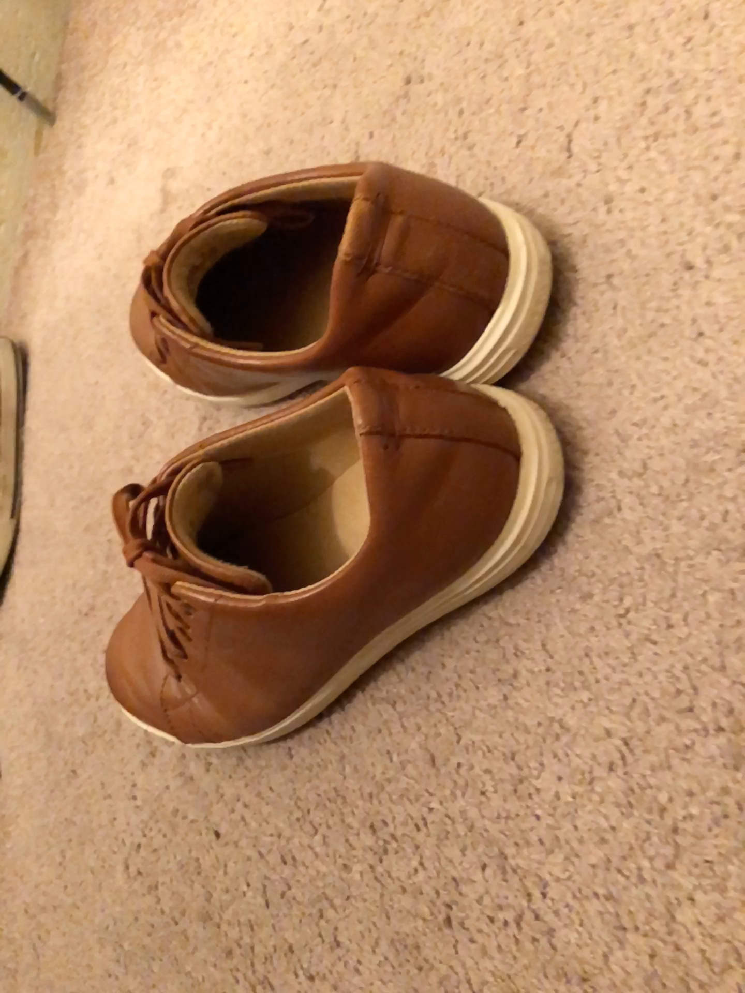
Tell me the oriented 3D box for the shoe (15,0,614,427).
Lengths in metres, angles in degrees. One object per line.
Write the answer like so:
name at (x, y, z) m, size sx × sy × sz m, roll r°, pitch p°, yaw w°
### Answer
shoe at (-0.053, -0.100, 0.368) m, size 0.286 × 0.102 × 0.117 m, roll 5°, pitch 85°, yaw 50°

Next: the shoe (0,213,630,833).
shoe at (-0.059, 0.041, 0.341) m, size 0.285 × 0.100 × 0.117 m, roll -37°, pitch 55°, yaw 39°
